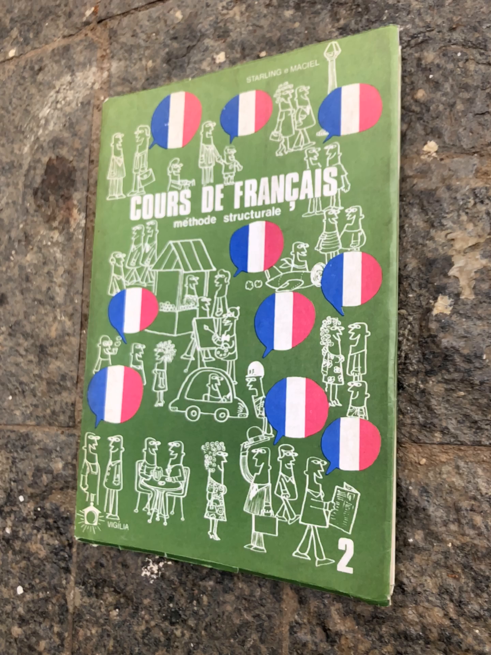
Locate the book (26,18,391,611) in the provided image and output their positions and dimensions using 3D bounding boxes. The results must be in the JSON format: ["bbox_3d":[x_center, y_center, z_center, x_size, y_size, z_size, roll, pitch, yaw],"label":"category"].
[{"bbox_3d":[-0.023,-0.009,0.239,0.167,0.013,0.211,-1,83,28],"label":"book"}]
